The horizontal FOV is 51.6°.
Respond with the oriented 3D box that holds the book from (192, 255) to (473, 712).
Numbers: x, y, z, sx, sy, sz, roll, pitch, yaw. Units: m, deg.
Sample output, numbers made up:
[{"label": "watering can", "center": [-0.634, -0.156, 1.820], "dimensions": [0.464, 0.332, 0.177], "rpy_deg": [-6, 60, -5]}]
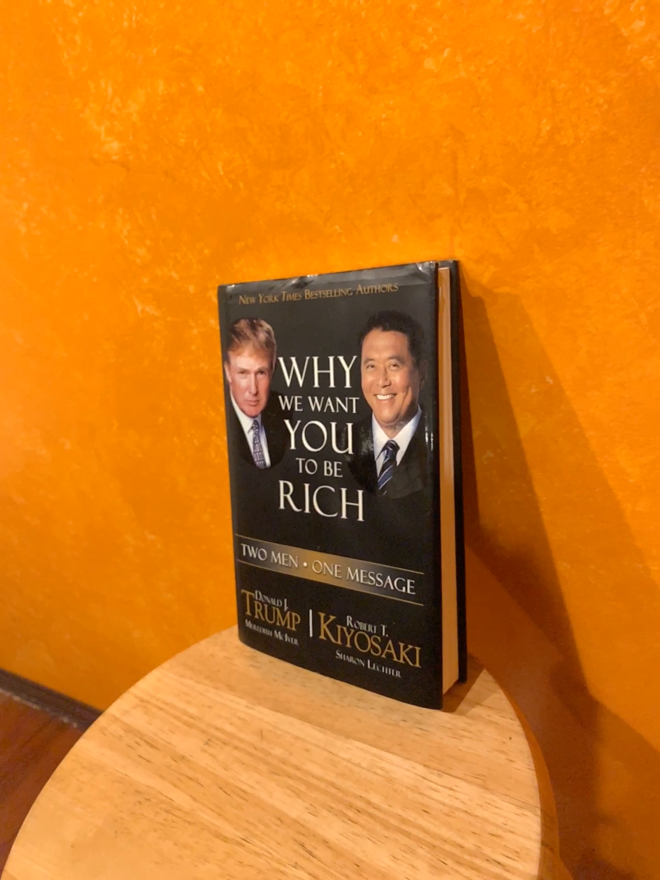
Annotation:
[{"label": "book", "center": [-0.002, 0.016, 0.372], "dimensions": [0.151, 0.210, 0.044], "rpy_deg": [5, 11, 40]}]
